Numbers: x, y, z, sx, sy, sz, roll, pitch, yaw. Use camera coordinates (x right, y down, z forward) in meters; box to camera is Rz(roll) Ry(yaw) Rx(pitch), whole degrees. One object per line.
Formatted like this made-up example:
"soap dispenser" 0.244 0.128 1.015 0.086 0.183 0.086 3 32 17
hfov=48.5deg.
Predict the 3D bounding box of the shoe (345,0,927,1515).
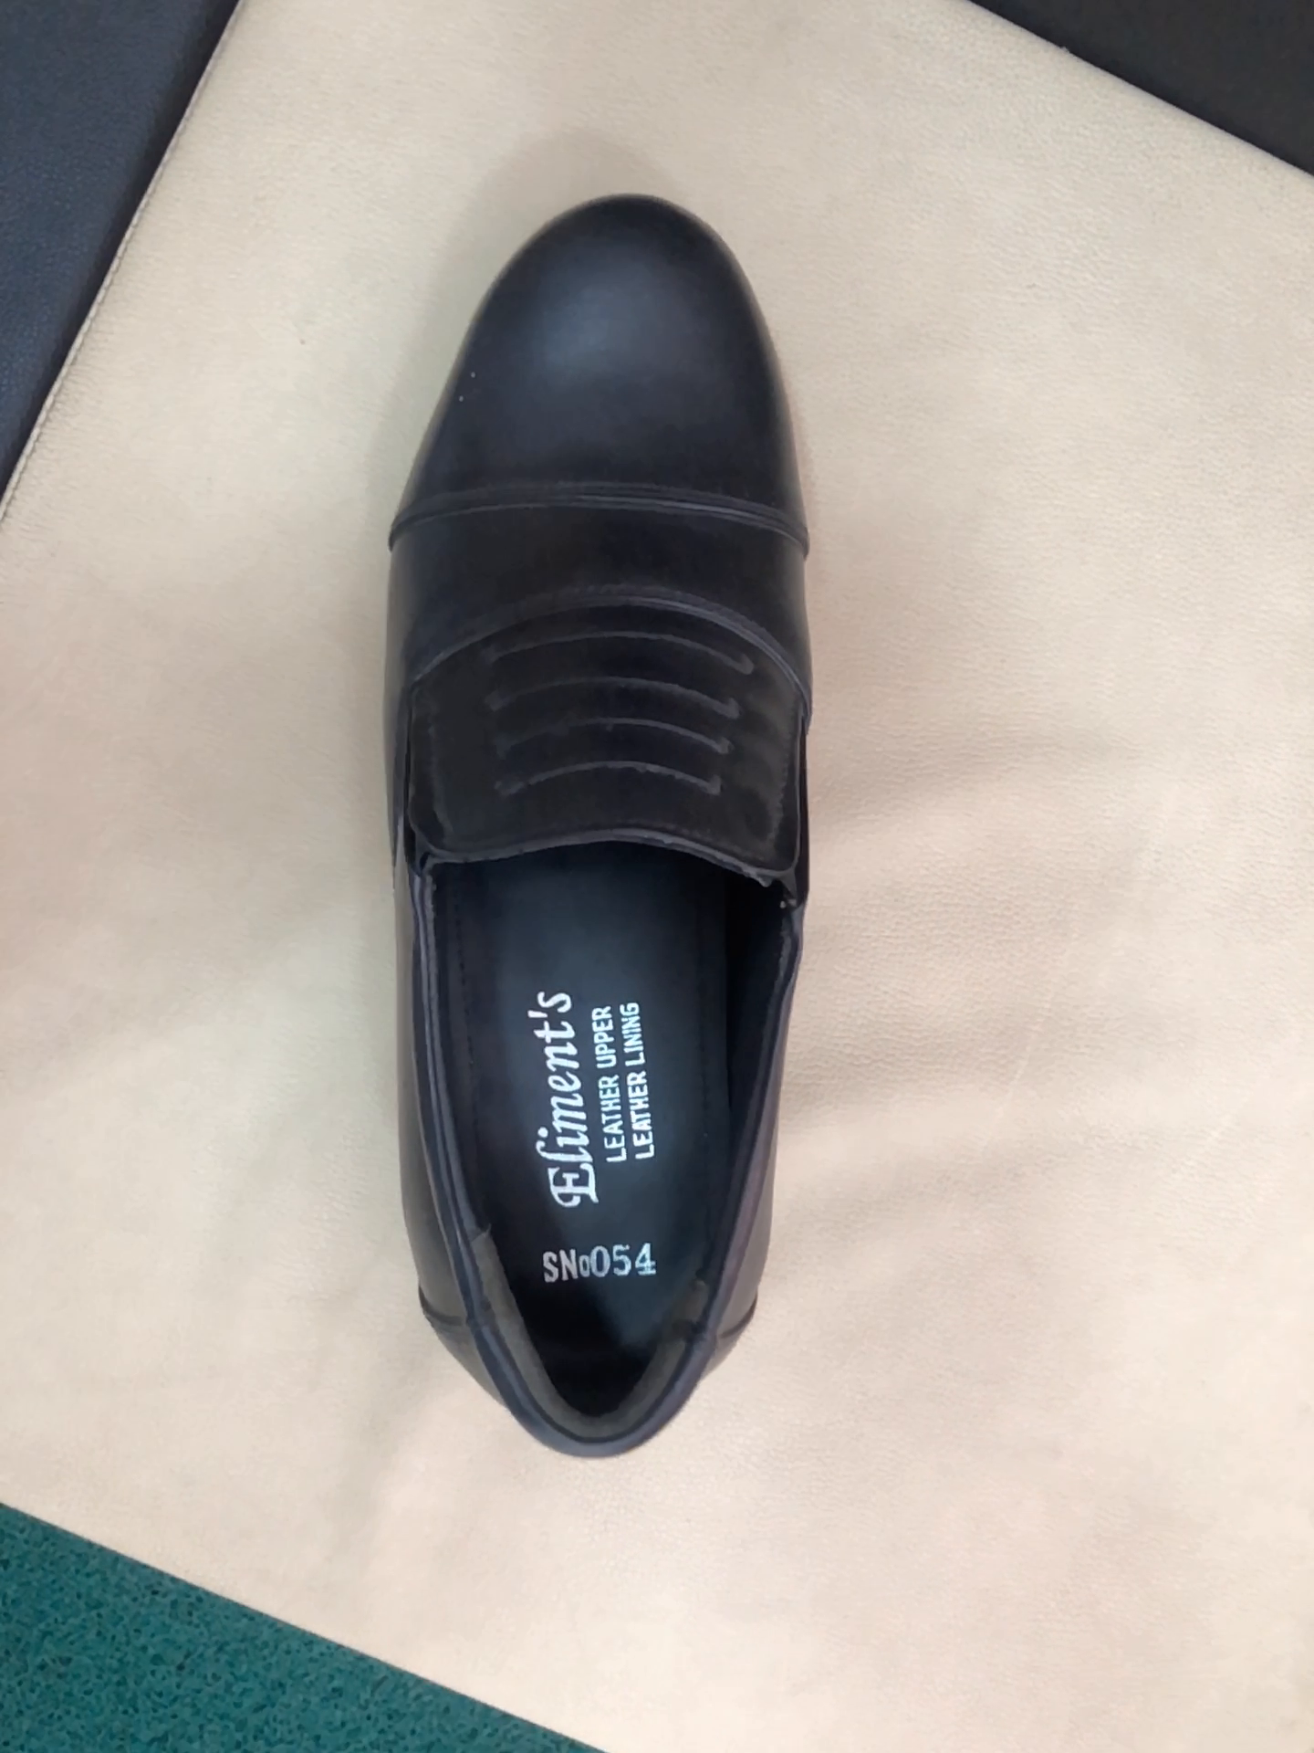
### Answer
"shoe" -0.004 -0.023 0.318 0.100 0.120 0.270 -1 93 -2
